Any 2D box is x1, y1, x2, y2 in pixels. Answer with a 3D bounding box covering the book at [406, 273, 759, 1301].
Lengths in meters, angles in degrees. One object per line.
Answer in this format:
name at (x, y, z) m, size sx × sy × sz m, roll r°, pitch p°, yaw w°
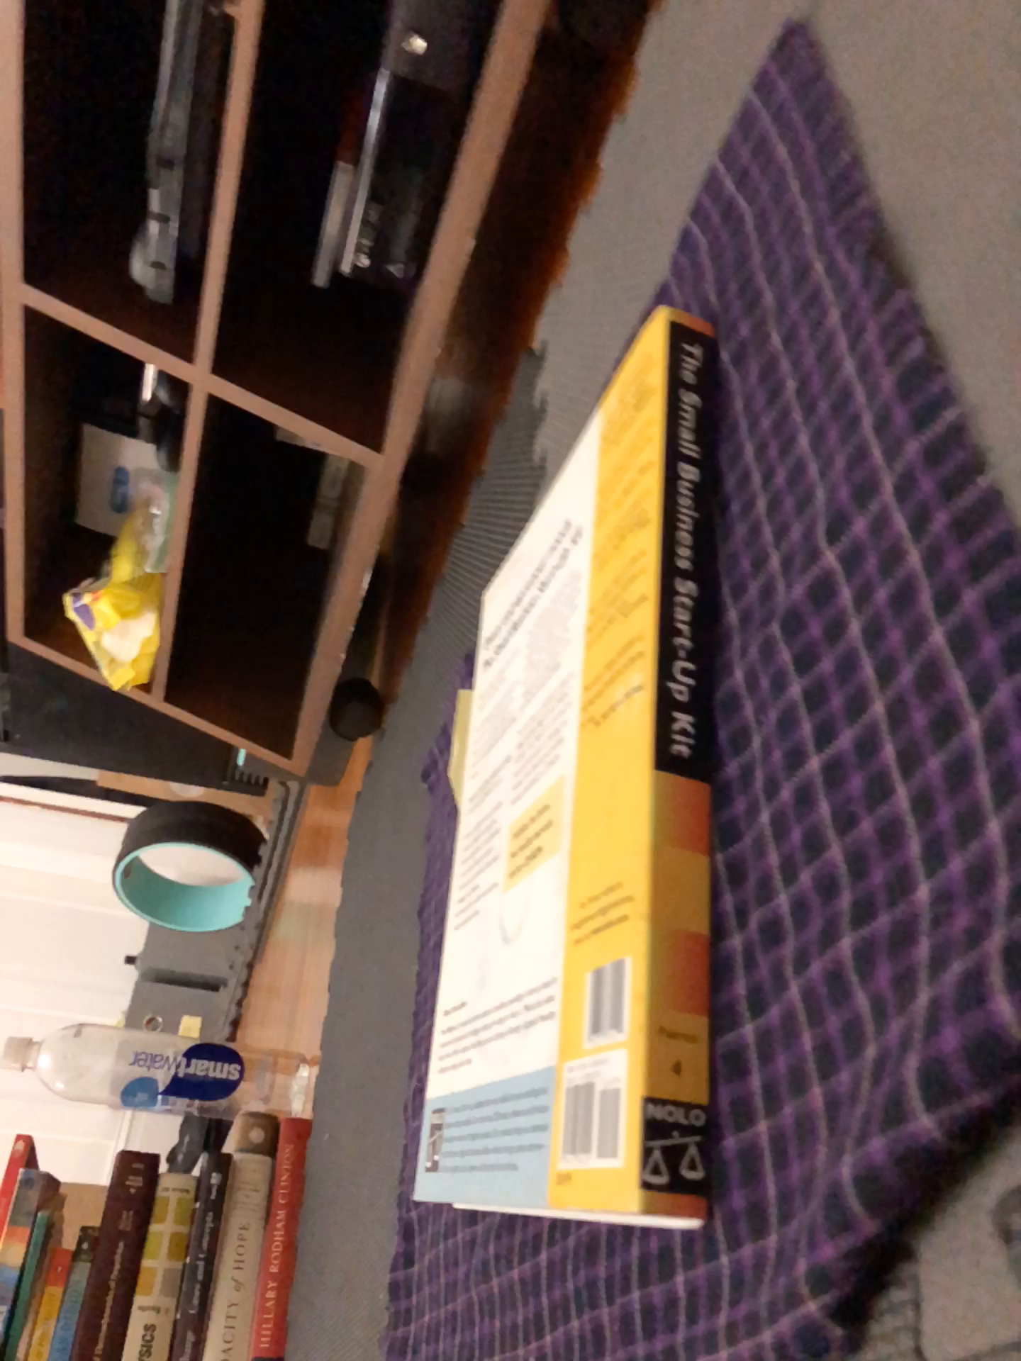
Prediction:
book at (0.023, 0.046, 0.426) m, size 0.230 × 0.030 × 0.310 m, roll 128°, pitch 151°, yaw -61°
